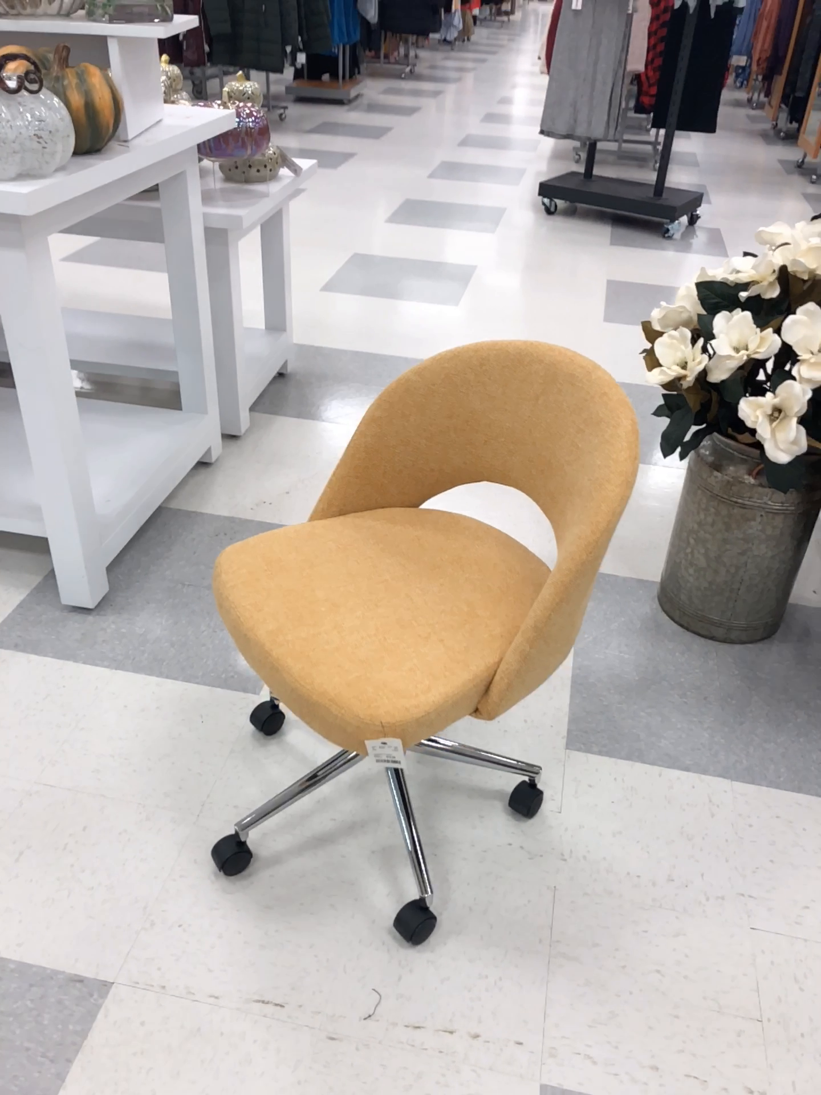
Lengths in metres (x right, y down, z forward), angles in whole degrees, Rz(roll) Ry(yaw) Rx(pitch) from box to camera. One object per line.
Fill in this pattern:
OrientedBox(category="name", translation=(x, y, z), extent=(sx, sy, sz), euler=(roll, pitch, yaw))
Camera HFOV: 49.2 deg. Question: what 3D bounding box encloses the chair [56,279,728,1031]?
OrientedBox(category="chair", translation=(-0.052, 0.097, 1.342), extent=(0.636, 0.749, 0.583), euler=(-20, 39, -31))
